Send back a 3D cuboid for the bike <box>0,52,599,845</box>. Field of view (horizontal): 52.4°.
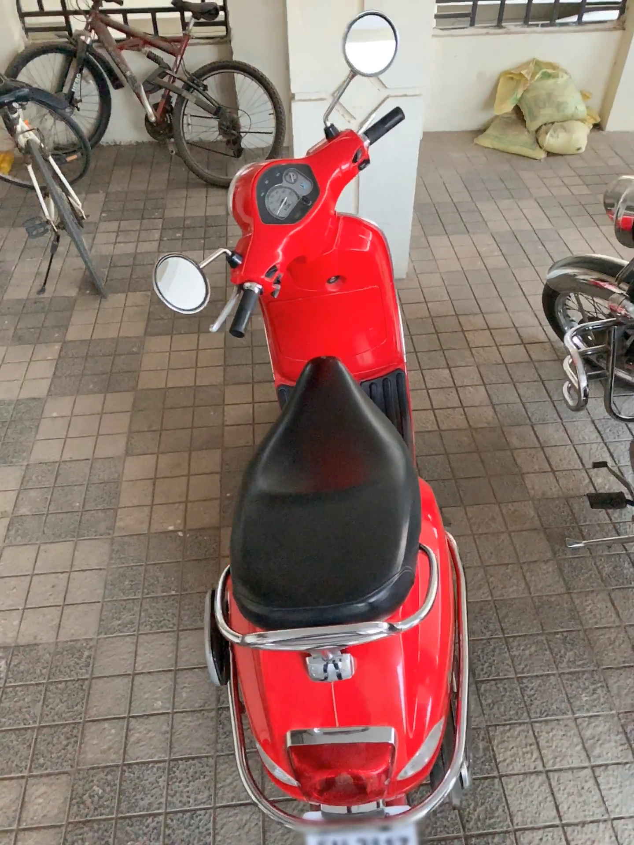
[{"bbox_3d":[-0.188,0.040,1.611,0.681,1.262,1.554,-7,46,-5],"label":"bike"}]
